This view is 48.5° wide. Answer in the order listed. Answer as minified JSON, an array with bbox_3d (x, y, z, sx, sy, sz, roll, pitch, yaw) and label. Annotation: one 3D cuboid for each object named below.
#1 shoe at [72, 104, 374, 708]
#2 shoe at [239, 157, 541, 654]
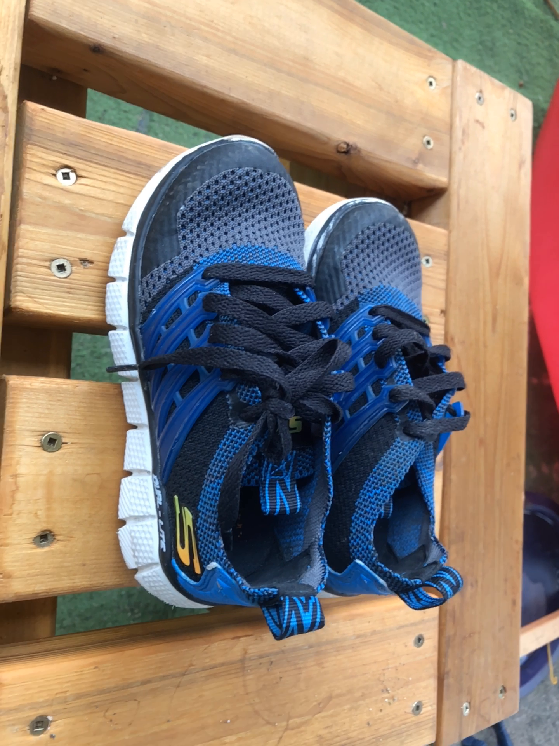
[{"bbox_3d":[-0.027,0.012,0.270,0.080,0.100,0.200,5,86,-36],"label":"shoe"},{"bbox_3d":[0.052,0.015,0.300,0.080,0.100,0.190,10,84,-35],"label":"shoe"}]
